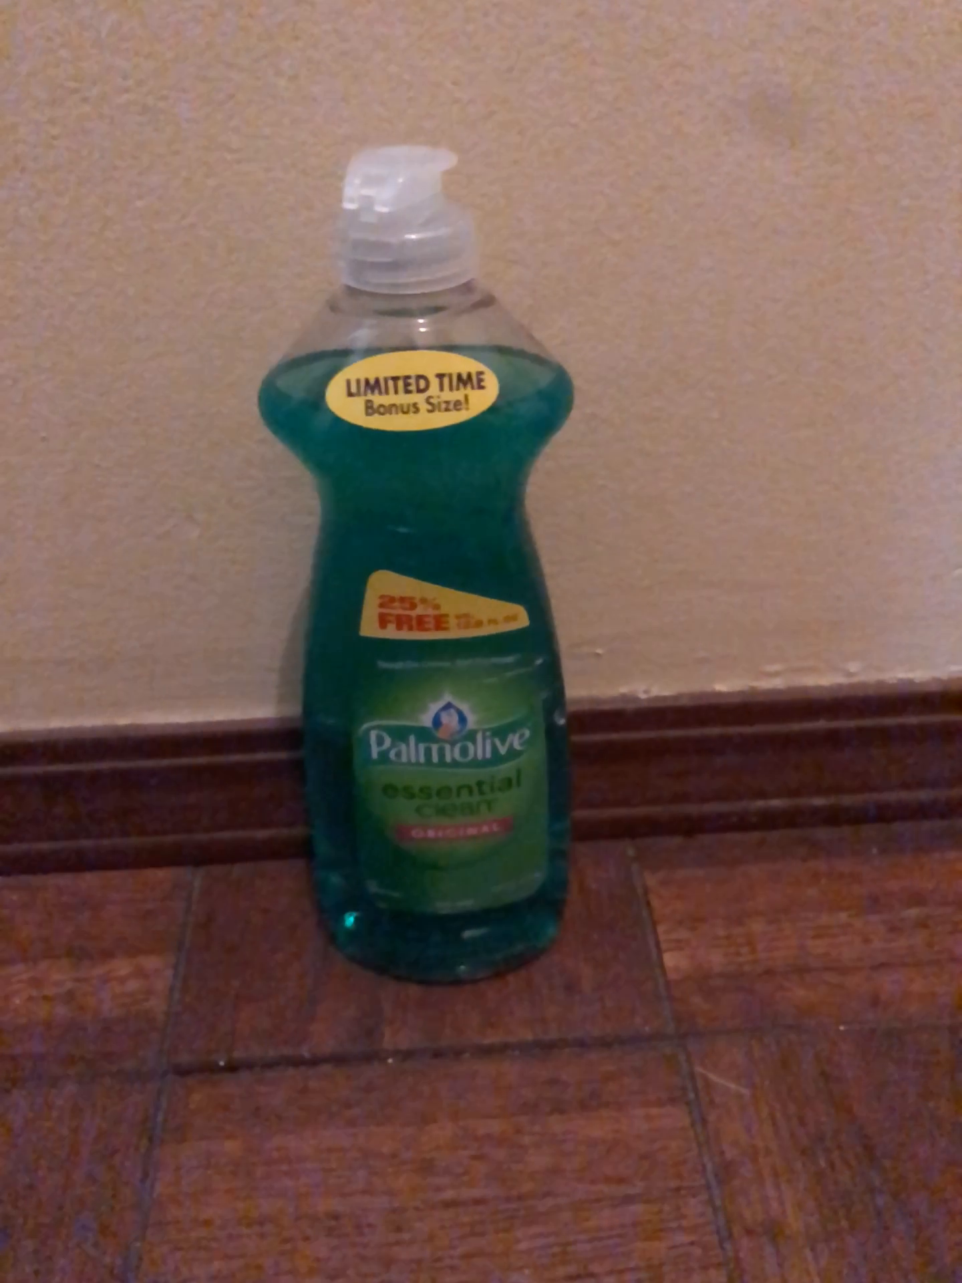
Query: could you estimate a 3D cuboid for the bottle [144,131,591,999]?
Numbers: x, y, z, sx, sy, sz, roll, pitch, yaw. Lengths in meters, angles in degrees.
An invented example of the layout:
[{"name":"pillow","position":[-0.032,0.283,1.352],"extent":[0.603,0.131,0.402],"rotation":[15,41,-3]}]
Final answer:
[{"name":"bottle","position":[-0.019,-0.001,0.280],"extent":[0.080,0.230,0.050],"rotation":[-4,37,-3]}]
